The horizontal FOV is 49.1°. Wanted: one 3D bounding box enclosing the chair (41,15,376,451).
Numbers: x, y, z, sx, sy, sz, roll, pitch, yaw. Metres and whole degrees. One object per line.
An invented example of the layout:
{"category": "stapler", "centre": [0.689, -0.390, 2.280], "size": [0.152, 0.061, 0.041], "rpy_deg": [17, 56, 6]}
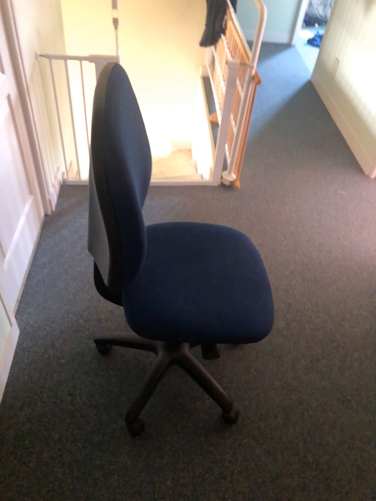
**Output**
{"category": "chair", "centre": [0.019, 0.016, 1.281], "size": [0.671, 1.113, 0.704], "rpy_deg": [-1, 45, -9]}
